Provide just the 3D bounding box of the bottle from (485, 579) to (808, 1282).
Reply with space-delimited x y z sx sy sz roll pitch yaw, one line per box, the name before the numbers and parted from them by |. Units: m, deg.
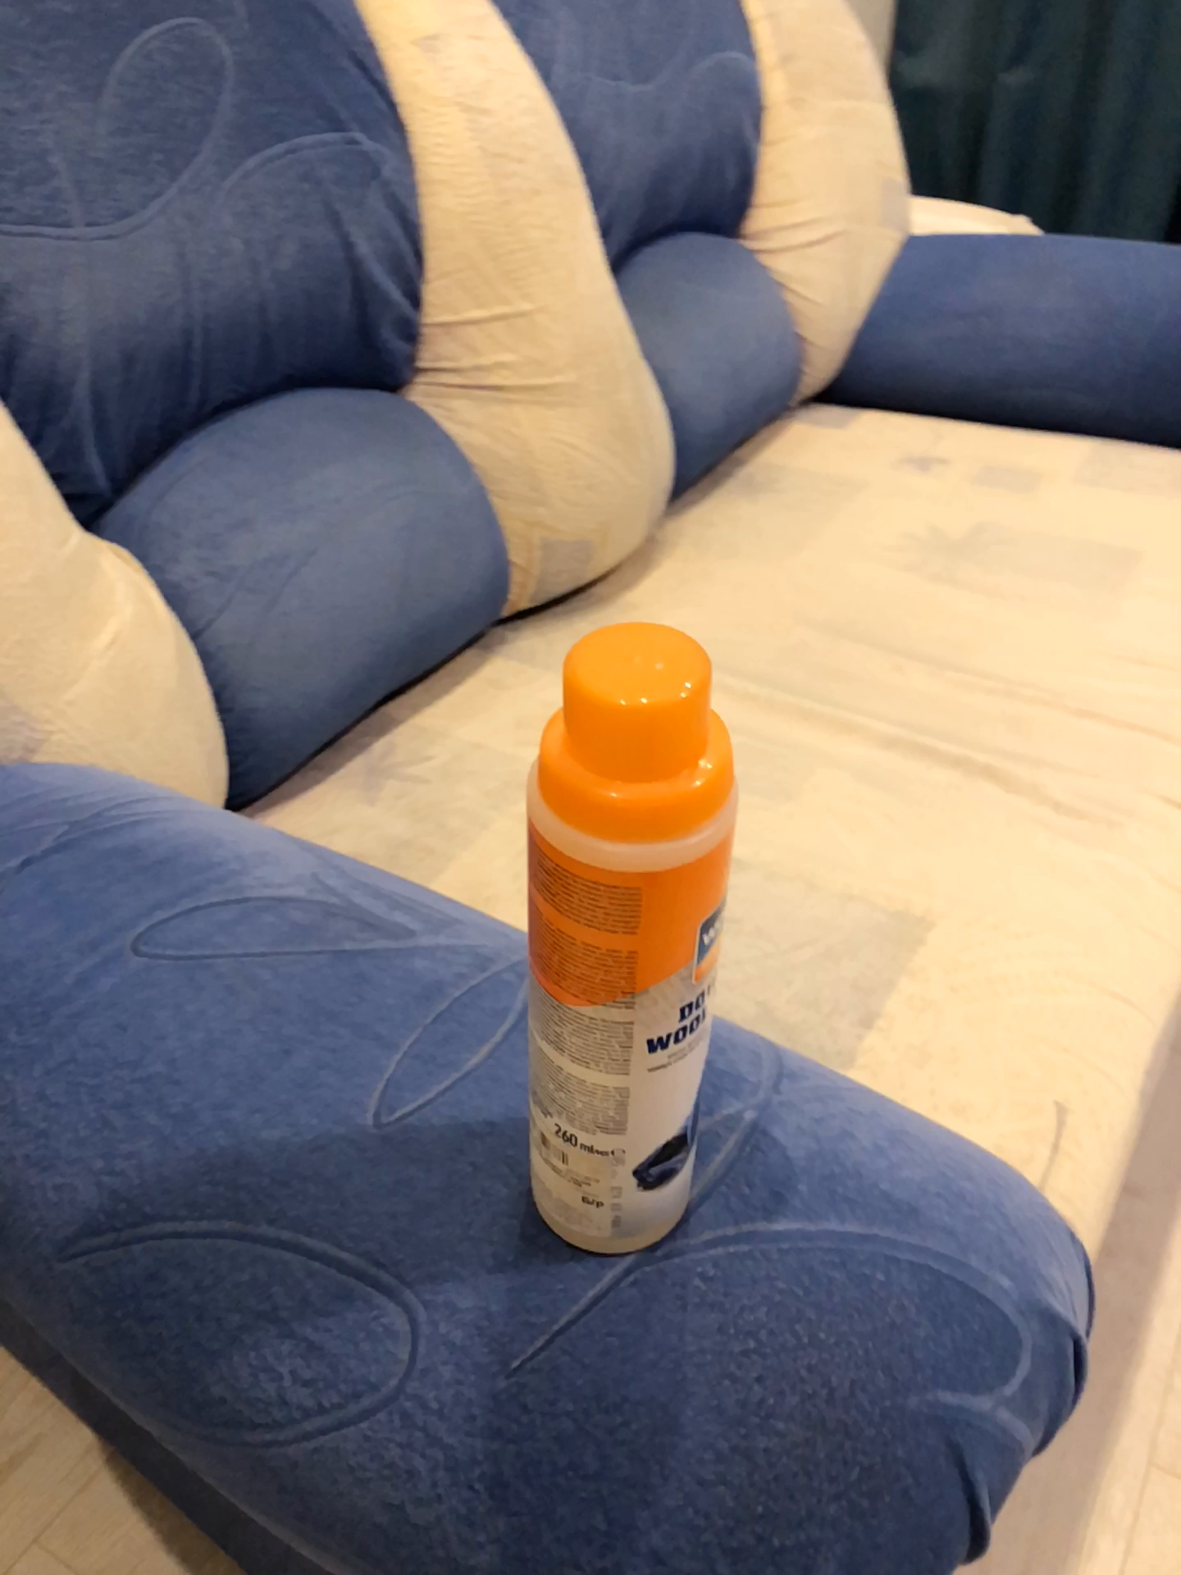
bottle | 0.009 0.046 0.331 0.052 0.188 0.052 2 42 -1
